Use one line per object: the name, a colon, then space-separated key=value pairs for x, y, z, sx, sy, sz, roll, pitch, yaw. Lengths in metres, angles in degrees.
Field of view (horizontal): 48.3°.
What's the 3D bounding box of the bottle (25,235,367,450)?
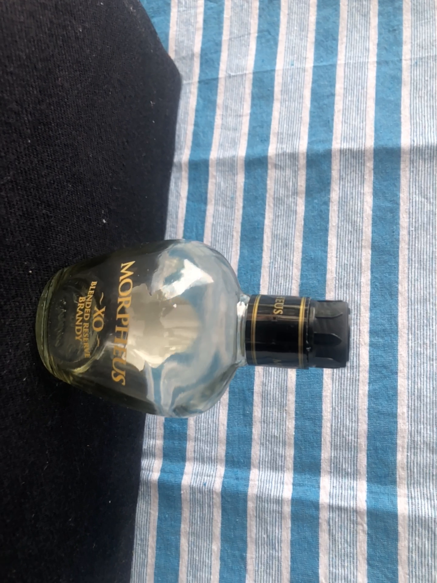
bottle: x=-0.007 y=0.016 z=0.205 sx=0.050 sy=0.129 sz=0.070 roll=9 pitch=84 yaw=-75
